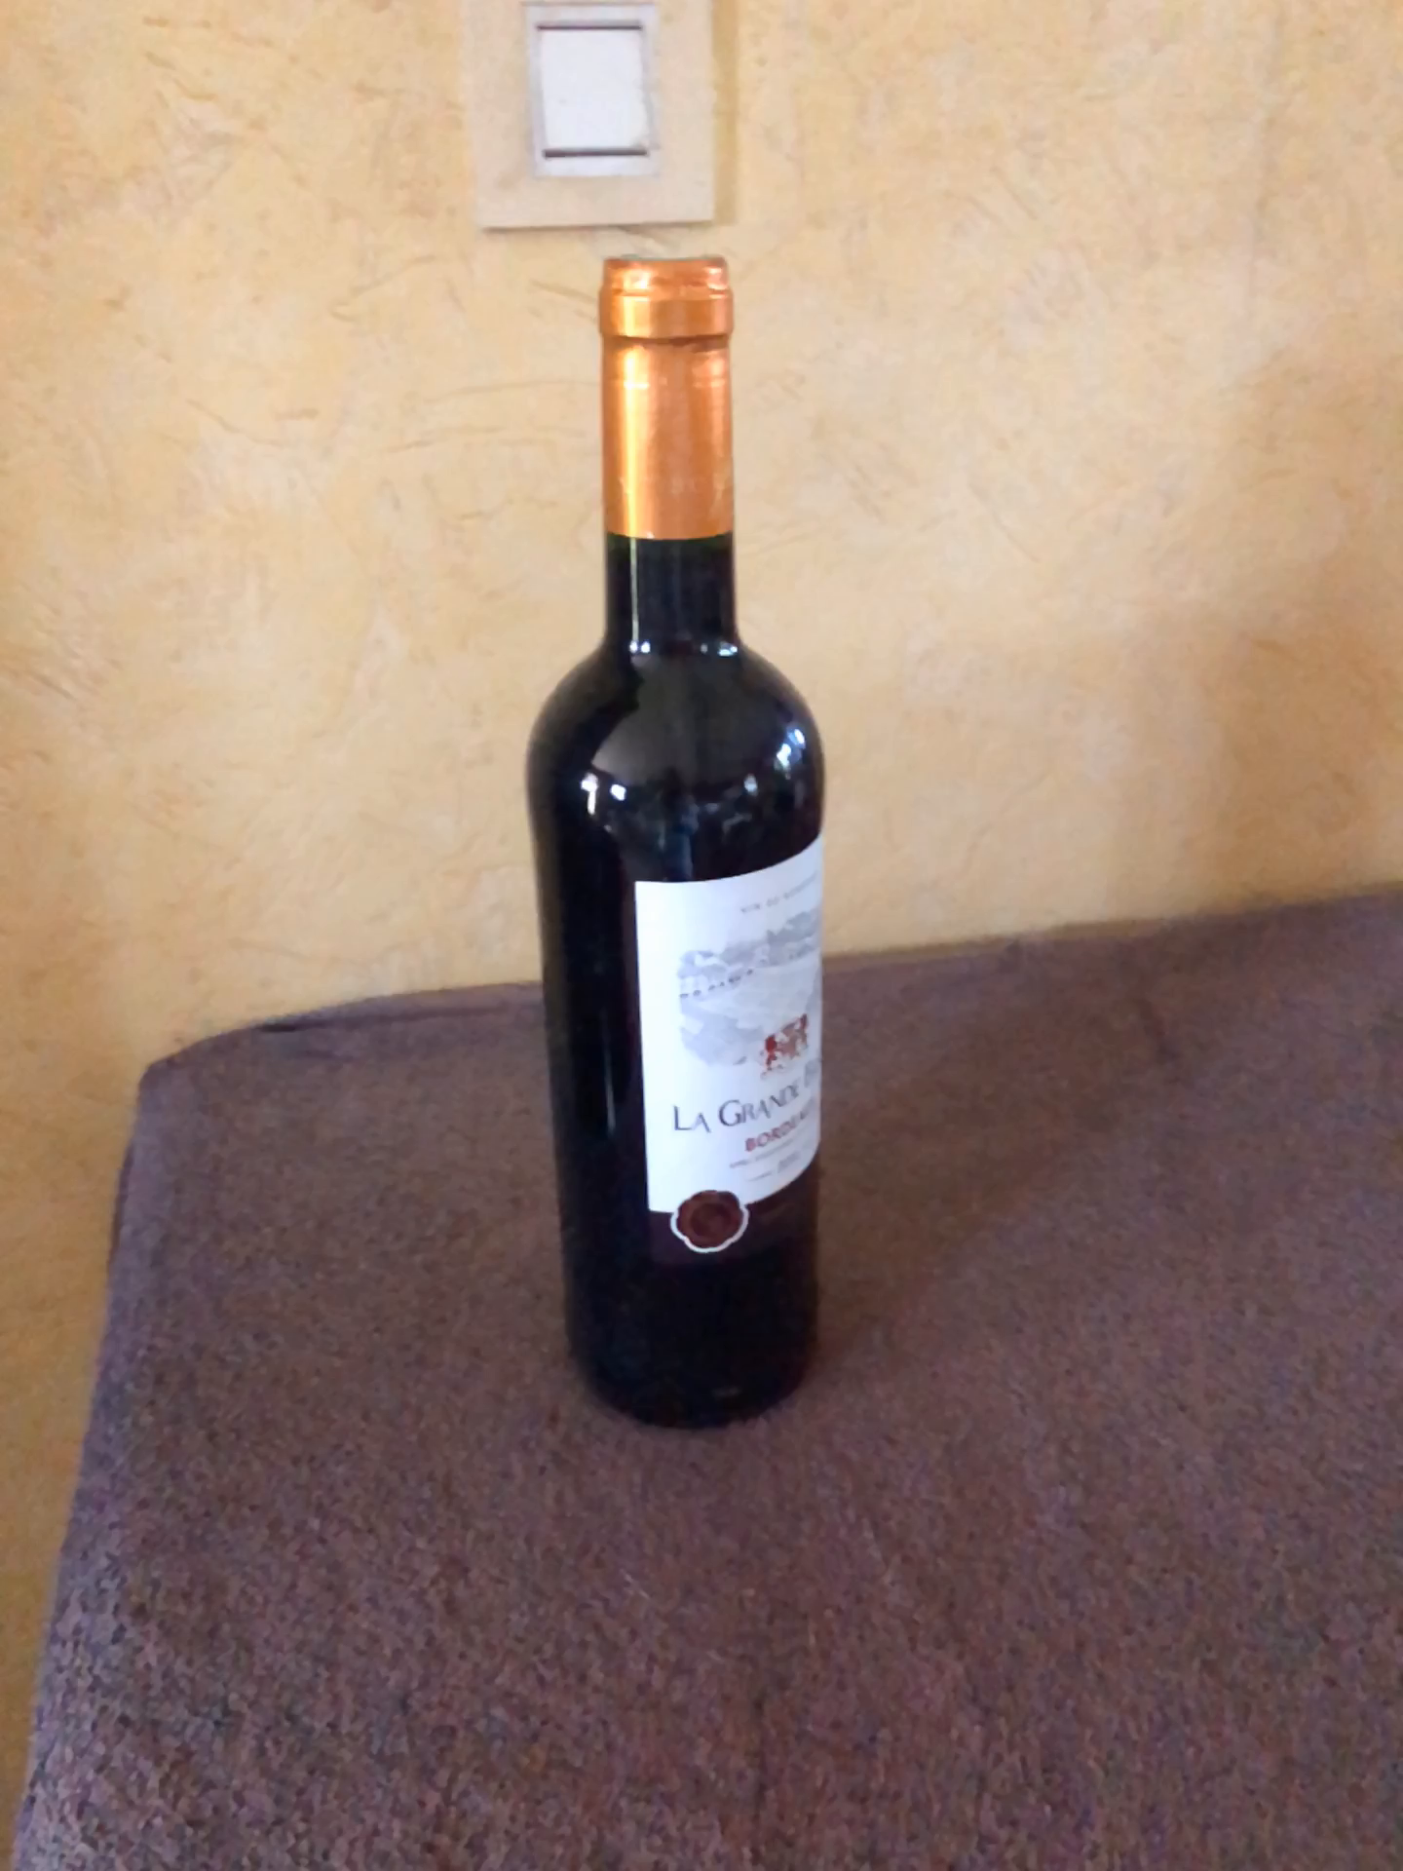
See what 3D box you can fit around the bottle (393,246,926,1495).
[{"bbox_3d":[-0.005,-0.010,0.396,0.080,0.298,0.080,-1,27,1],"label":"bottle"}]
